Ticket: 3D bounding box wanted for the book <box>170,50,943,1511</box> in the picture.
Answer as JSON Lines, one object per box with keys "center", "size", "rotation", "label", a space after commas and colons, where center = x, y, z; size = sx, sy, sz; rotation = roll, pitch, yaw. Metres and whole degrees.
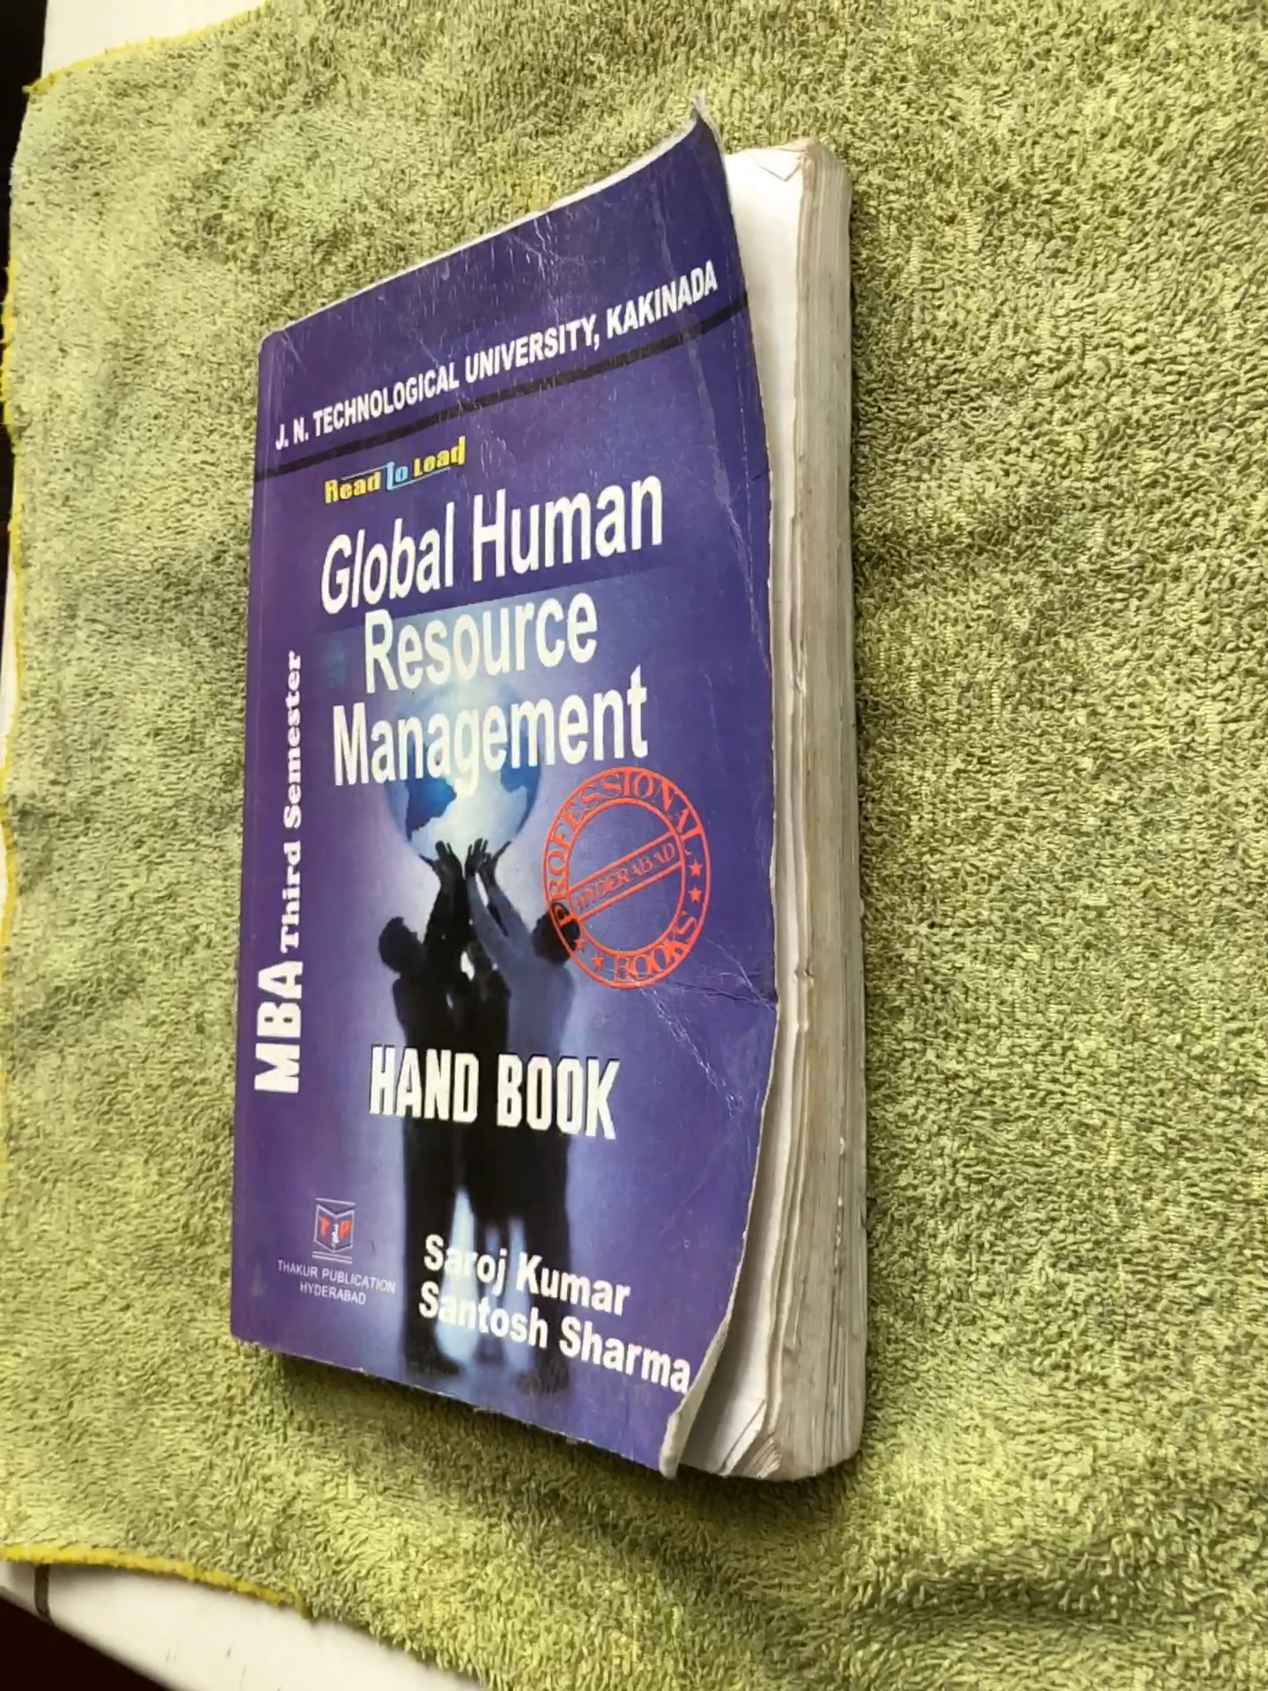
{"center": [-0.020, -0.008, 0.251], "size": [0.141, 0.040, 0.200], "rotation": [-3, 84, 38], "label": "book"}
